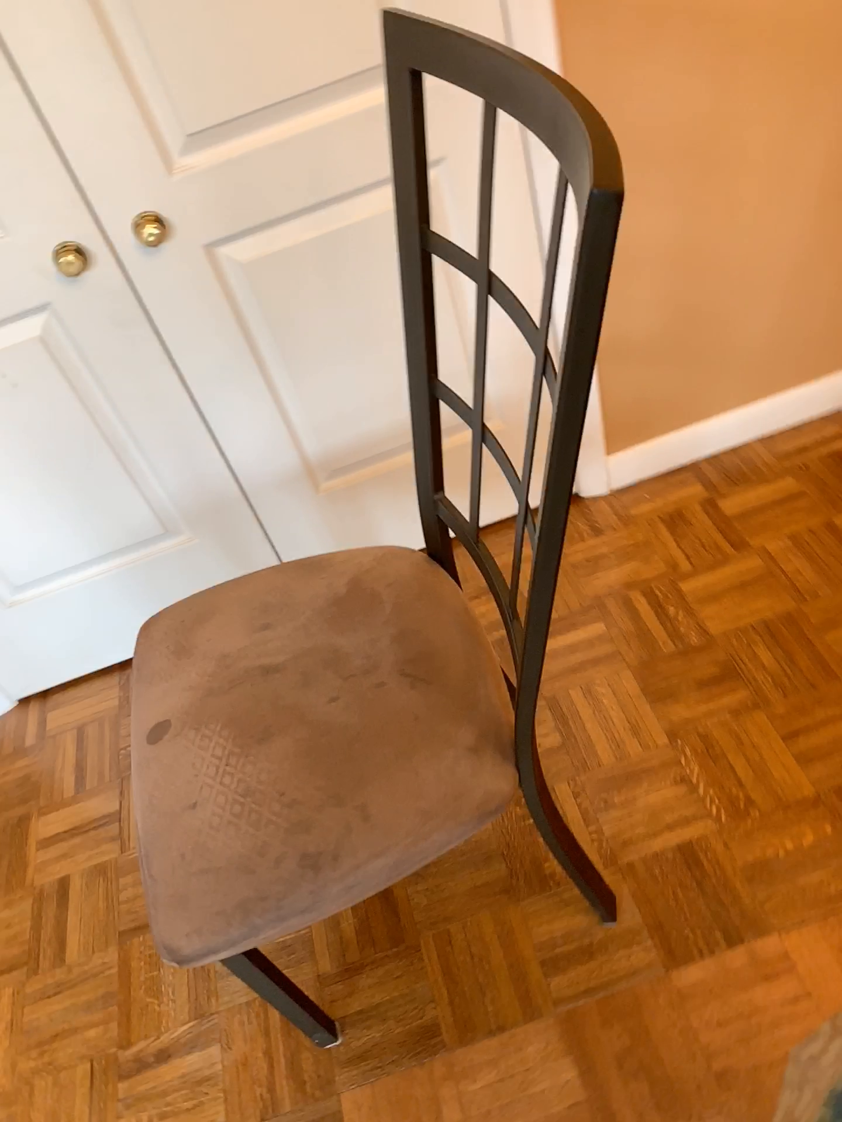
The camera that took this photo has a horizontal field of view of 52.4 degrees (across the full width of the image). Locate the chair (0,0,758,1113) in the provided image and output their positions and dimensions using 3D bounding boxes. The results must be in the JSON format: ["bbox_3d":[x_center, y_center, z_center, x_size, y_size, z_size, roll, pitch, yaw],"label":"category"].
[{"bbox_3d":[-0.109,0.073,0.903,0.620,0.985,0.513,-19,44,-3],"label":"chair"}]
